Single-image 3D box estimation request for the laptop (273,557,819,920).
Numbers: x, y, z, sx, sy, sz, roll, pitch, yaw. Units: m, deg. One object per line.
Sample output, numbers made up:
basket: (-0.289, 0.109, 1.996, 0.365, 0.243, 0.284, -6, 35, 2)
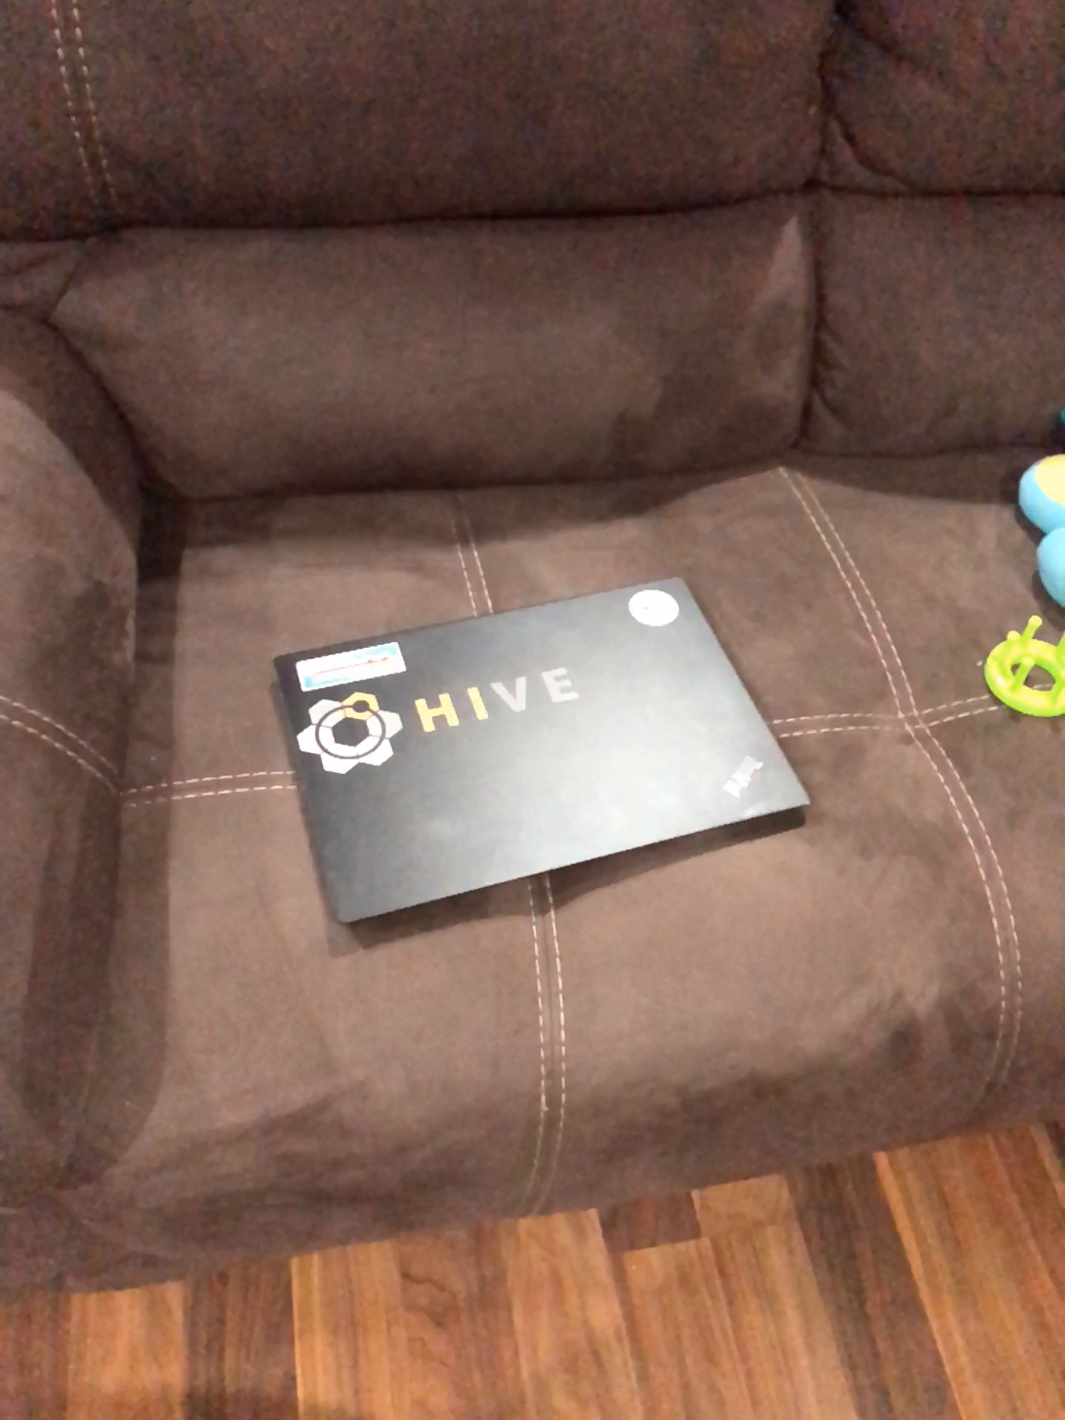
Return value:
laptop: (0.000, 0.005, 0.832, 0.328, 0.019, 0.236, -13, 51, -12)
